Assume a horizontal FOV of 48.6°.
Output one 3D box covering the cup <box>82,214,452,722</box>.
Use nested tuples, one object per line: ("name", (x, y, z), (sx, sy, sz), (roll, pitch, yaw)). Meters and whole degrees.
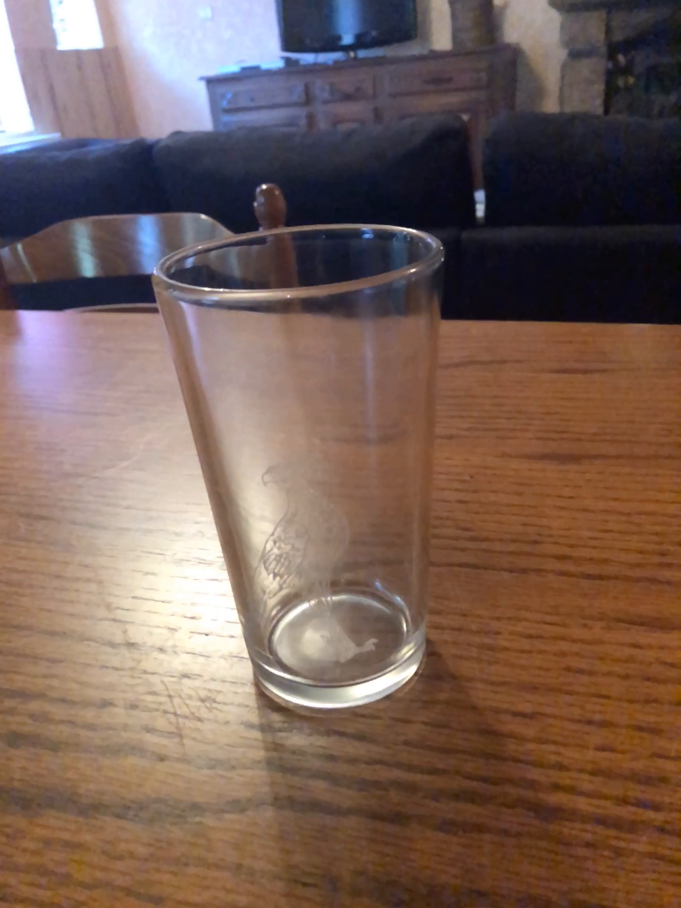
("cup", (-0.010, 0.002, 0.259), (0.091, 0.144, 0.090), (-4, 26, 2))
